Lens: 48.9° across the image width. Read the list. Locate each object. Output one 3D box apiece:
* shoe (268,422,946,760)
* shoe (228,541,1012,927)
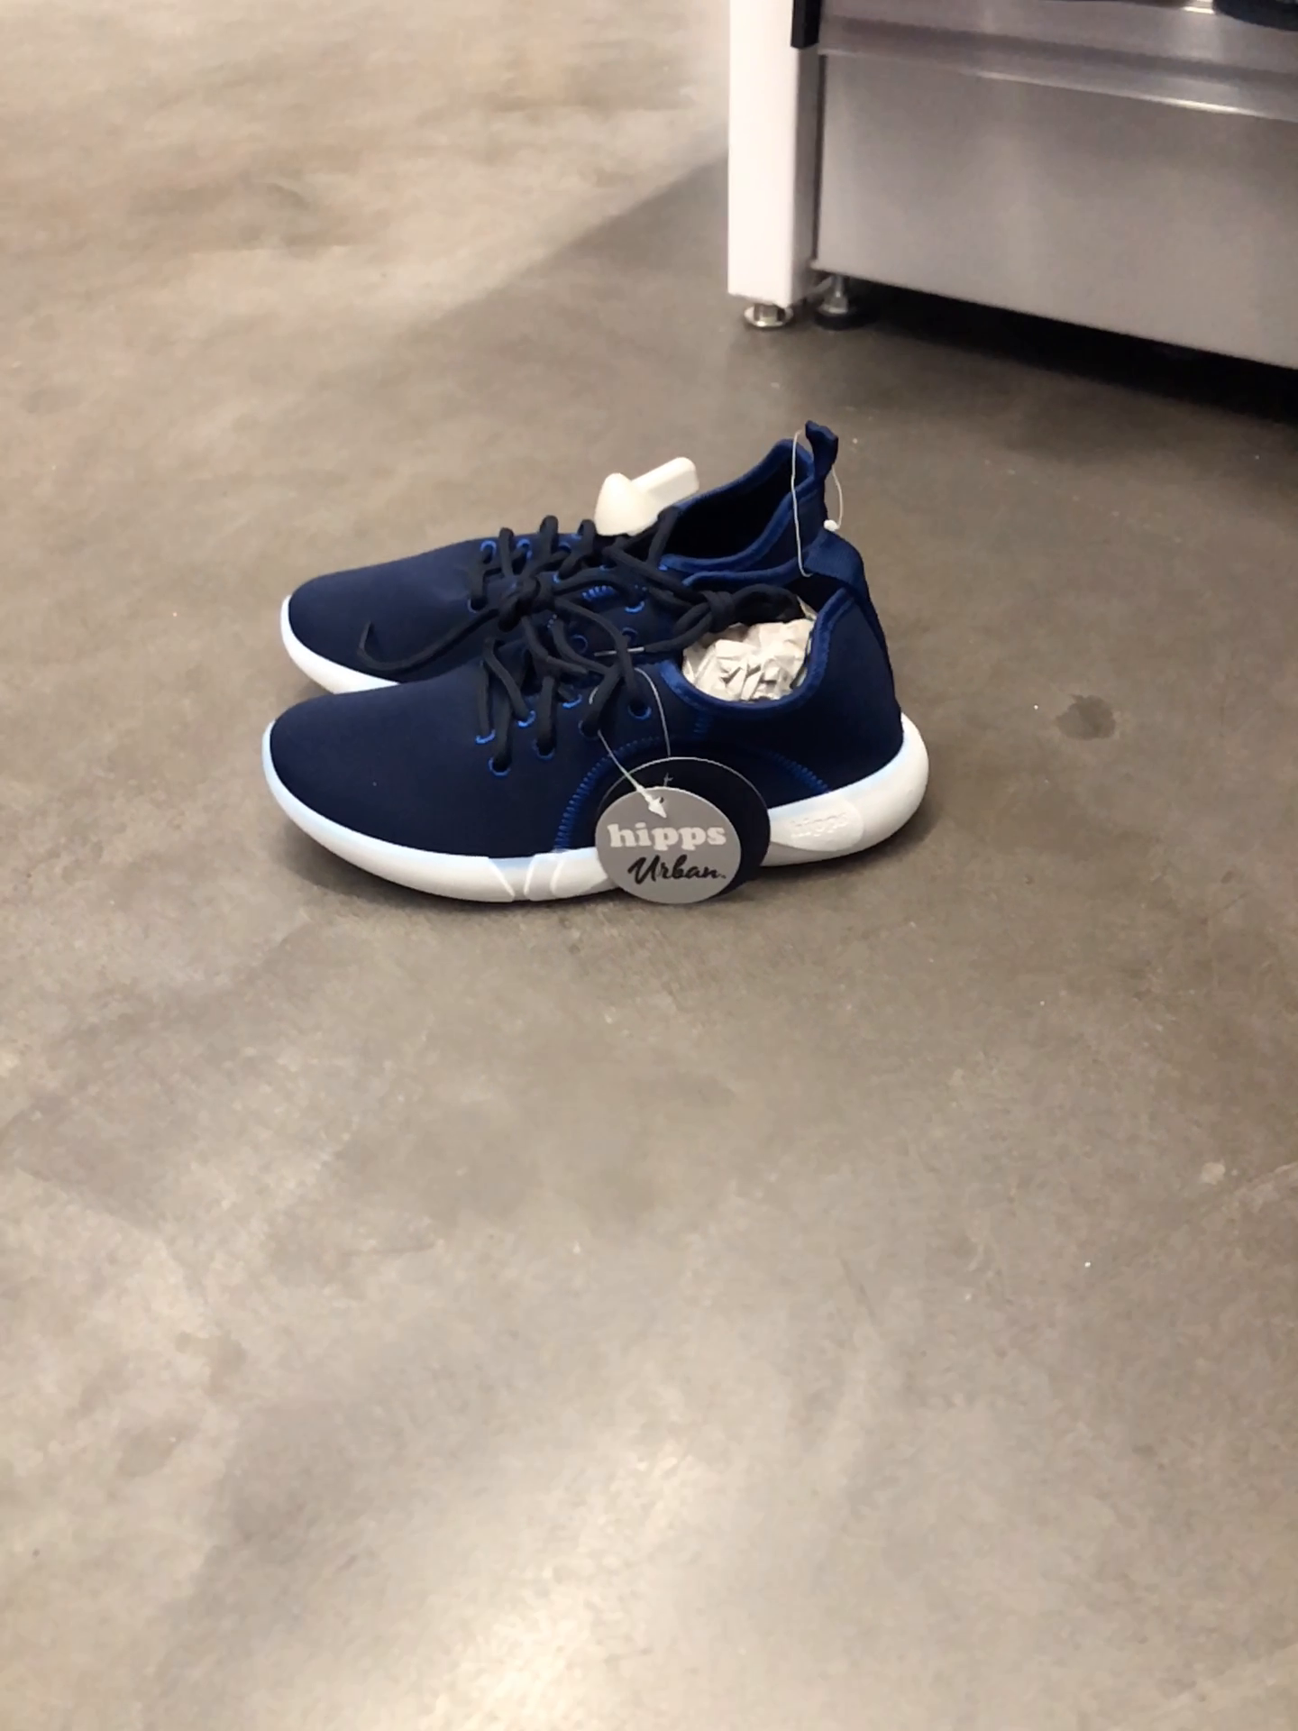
[{"bbox_3d":[-0.014,-0.110,0.569,0.240,0.089,0.091,-2,43,0],"label":"shoe"},{"bbox_3d":[-0.008,-0.046,0.500,0.240,0.089,0.091,-2,43,0],"label":"shoe"}]
